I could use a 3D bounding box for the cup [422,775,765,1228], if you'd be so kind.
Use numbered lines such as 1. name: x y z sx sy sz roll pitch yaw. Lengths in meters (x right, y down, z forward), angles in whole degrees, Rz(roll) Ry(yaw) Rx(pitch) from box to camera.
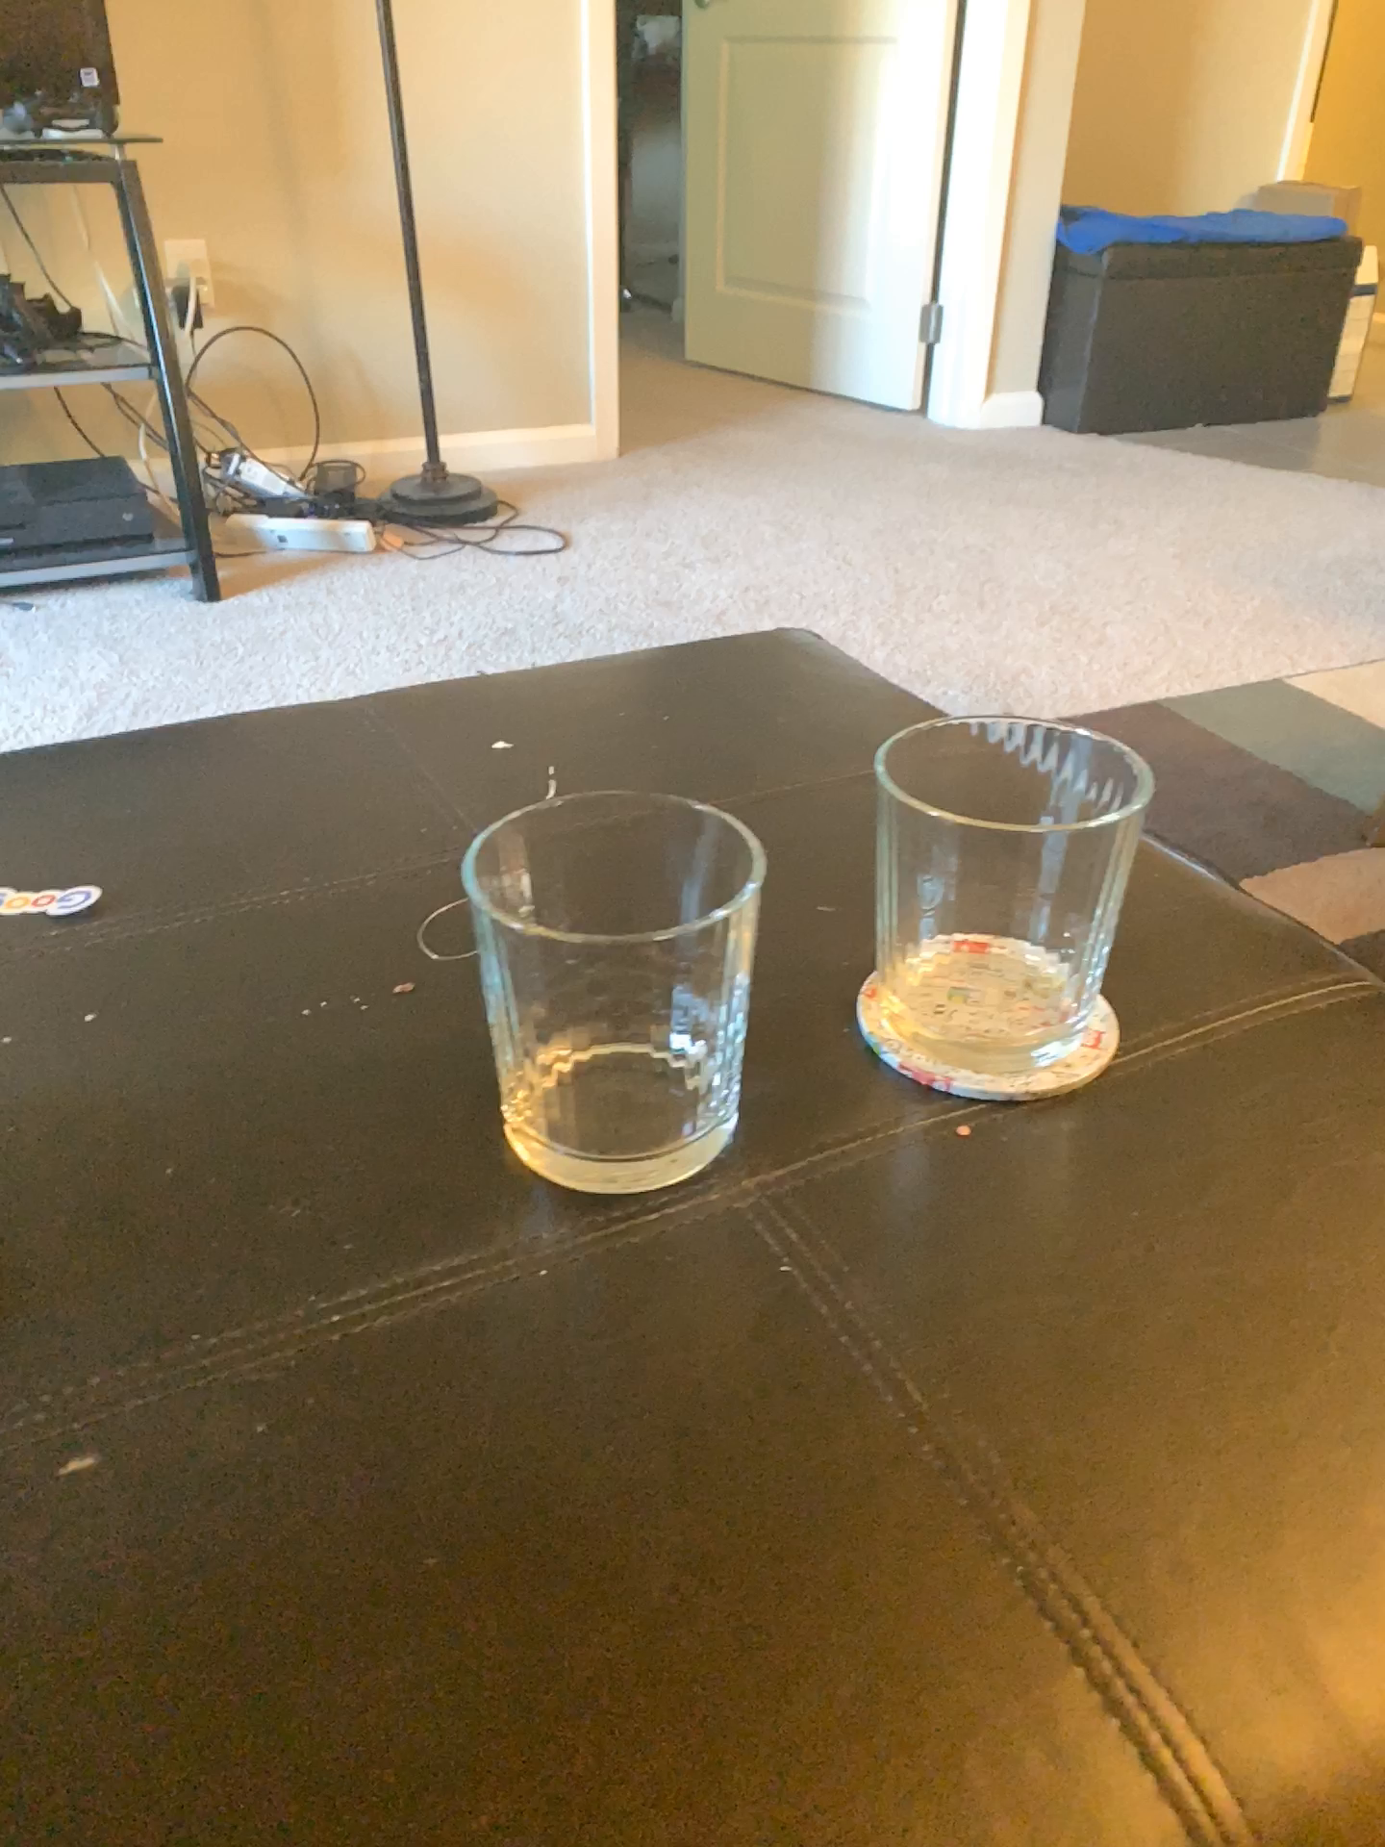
1. cup: -0.025 0.021 0.427 0.080 0.099 0.080 1 31 0

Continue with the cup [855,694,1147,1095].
1. cup: 0.104 -0.013 0.494 0.080 0.099 0.090 6 32 8
